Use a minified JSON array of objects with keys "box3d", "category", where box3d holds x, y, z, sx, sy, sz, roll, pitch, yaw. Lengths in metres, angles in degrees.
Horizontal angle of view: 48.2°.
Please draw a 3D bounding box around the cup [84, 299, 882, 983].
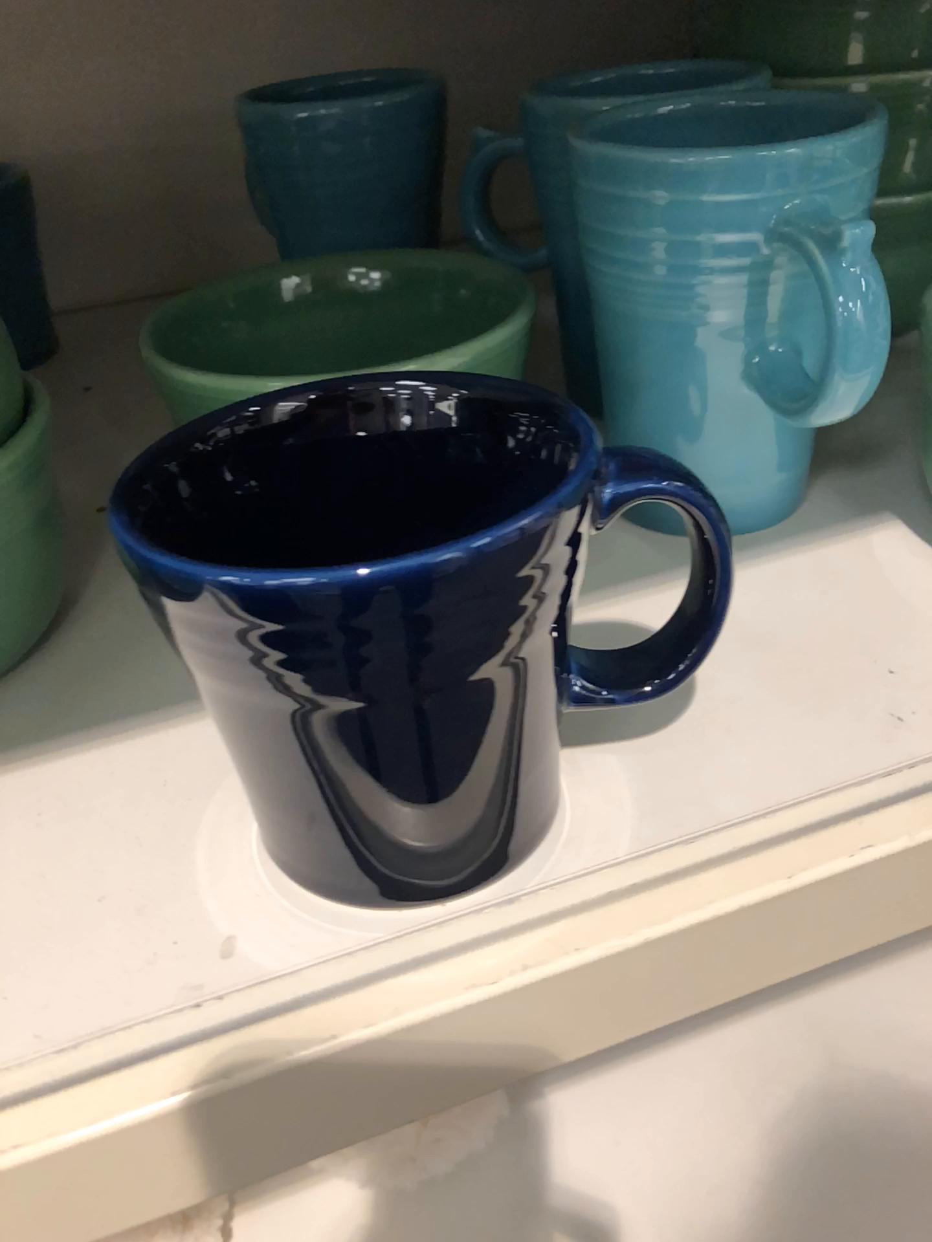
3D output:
[{"box3d":[-0.001,-0.004,0.240,0.143,0.085,0.094,-16,36,-11],"category":"cup"}]
